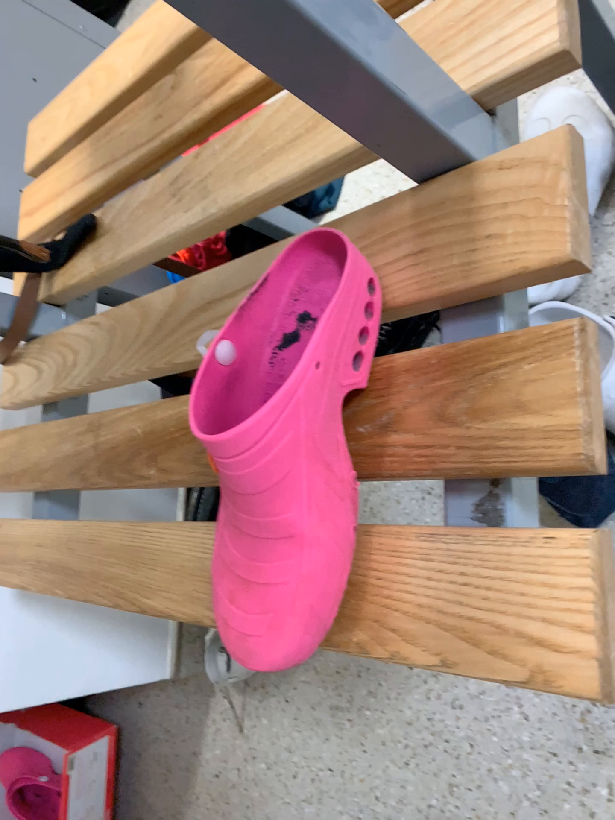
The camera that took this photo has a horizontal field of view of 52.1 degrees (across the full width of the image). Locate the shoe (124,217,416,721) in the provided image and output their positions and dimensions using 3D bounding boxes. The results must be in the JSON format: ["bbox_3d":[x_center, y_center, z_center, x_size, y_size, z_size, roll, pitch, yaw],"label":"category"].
[{"bbox_3d":[-0.021,0.024,0.330,0.097,0.068,0.220,8,87,45],"label":"shoe"}]
